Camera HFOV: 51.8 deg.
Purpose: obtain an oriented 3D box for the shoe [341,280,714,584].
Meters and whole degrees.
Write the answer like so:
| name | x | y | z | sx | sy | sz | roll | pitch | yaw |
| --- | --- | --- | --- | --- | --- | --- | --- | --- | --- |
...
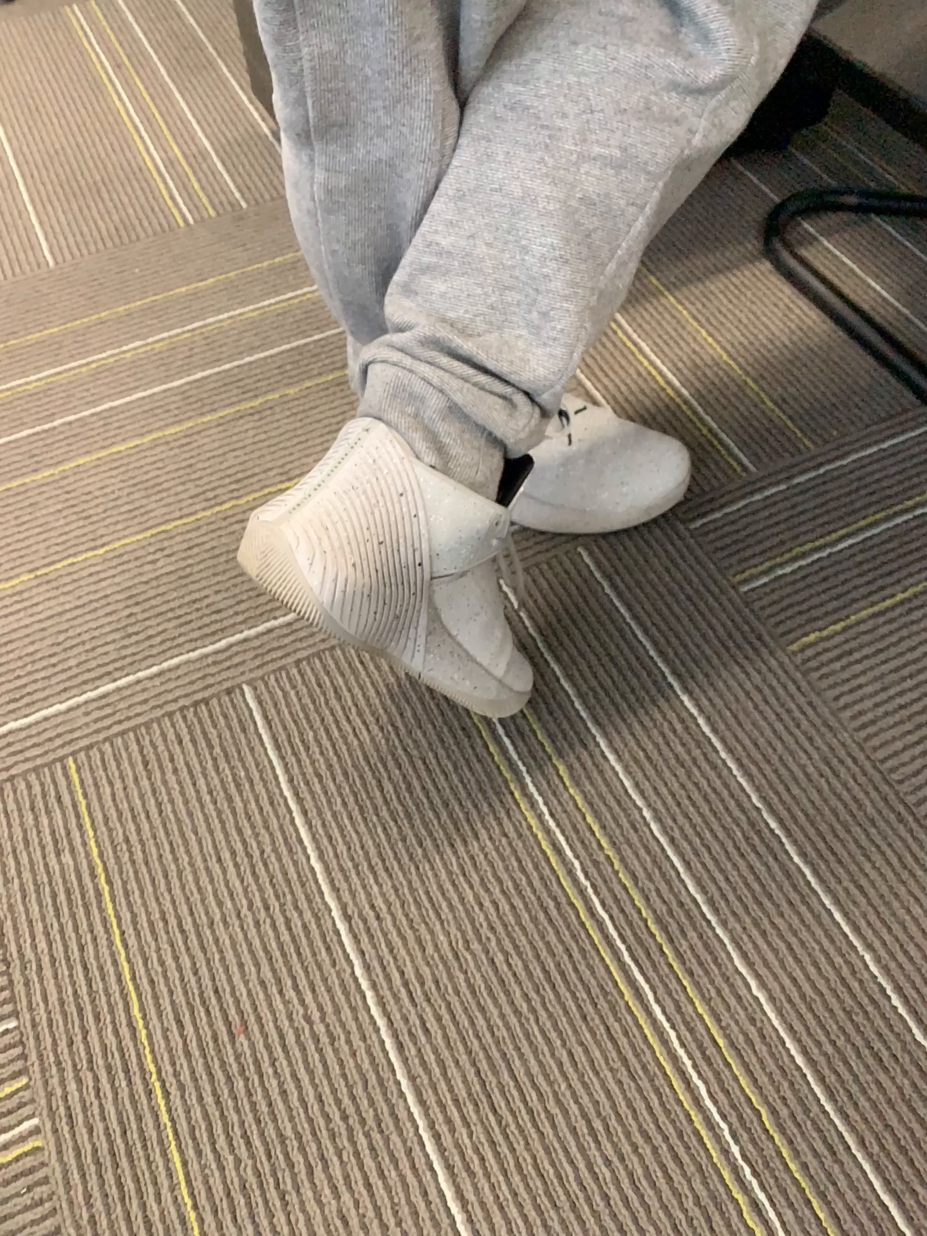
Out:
| name | x | y | z | sx | sy | sz | roll | pitch | yaw |
| --- | --- | --- | --- | --- | --- | --- | --- | --- | --- |
| shoe | 0.054 | -0.166 | 0.851 | 0.280 | 0.149 | 0.130 | 19 | 59 | 13 |

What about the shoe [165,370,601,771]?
| name | x | y | z | sx | sy | sz | roll | pitch | yaw |
| --- | --- | --- | --- | --- | --- | --- | --- | --- | --- |
| shoe | -0.035 | -0.017 | 0.634 | 0.120 | 0.279 | 0.120 | 33 | 85 | 36 |
